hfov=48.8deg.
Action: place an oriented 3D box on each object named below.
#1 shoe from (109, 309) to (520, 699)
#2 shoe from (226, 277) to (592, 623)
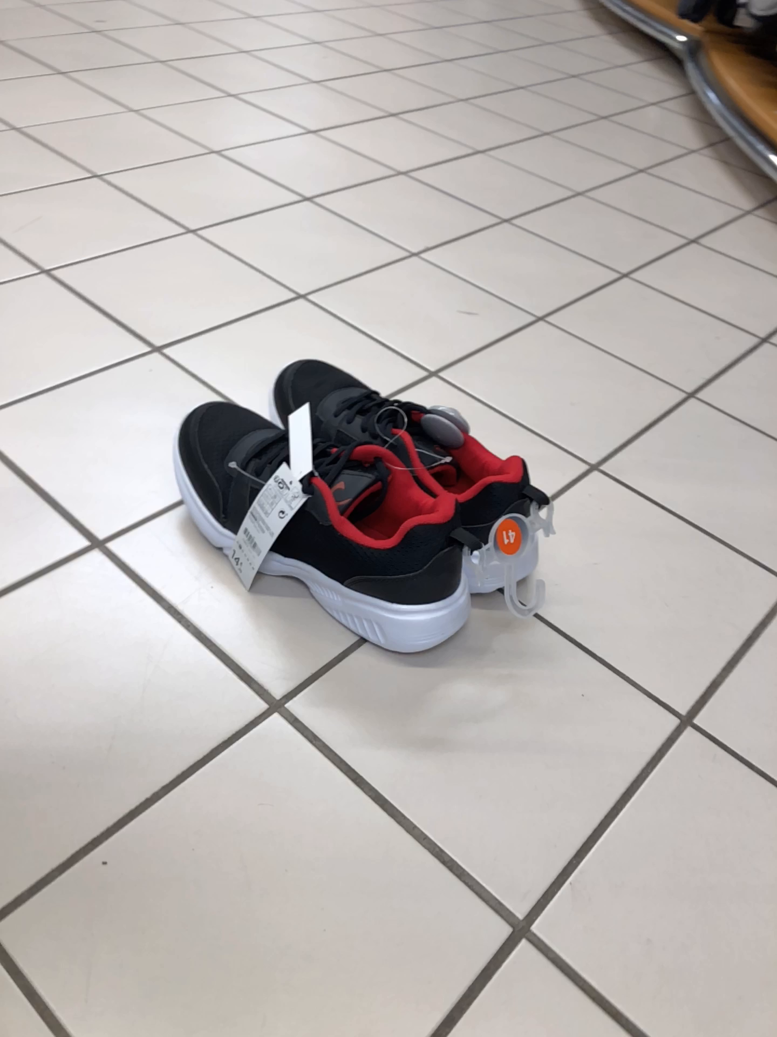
[{"bbox_3d":[-0.066,-0.022,0.629,0.295,0.129,0.101,33,46,25],"label":"shoe"},{"bbox_3d":[0.000,-0.066,0.687,0.285,0.129,0.101,35,47,27],"label":"shoe"}]
